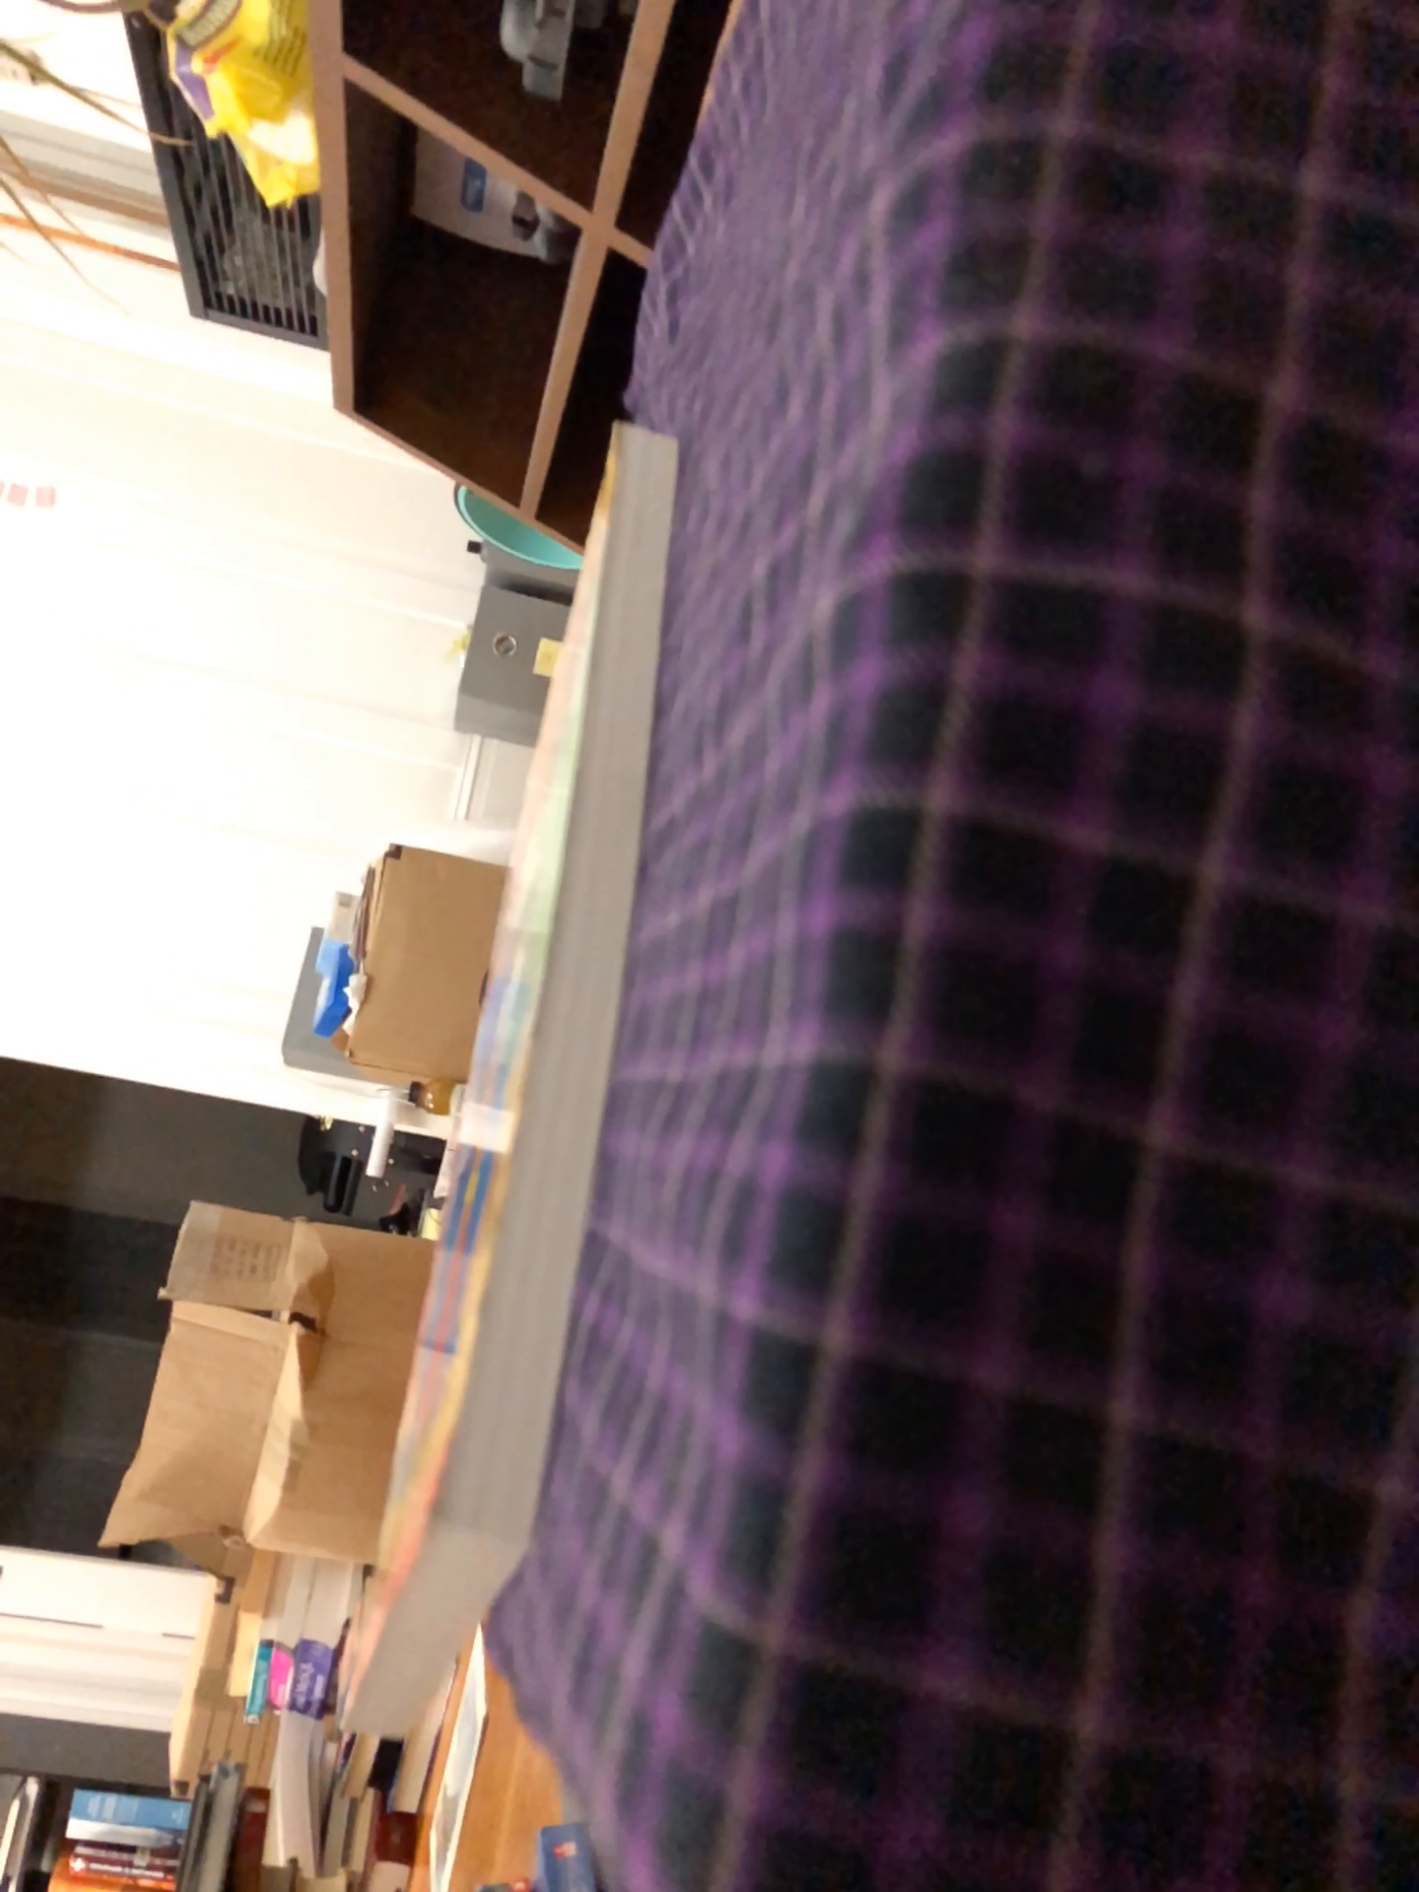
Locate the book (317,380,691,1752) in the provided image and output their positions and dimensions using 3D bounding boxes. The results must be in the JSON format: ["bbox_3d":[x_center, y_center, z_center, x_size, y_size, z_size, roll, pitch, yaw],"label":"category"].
[{"bbox_3d":[-0.046,0.023,0.357,0.170,0.020,0.270,115,164,-52],"label":"book"}]
